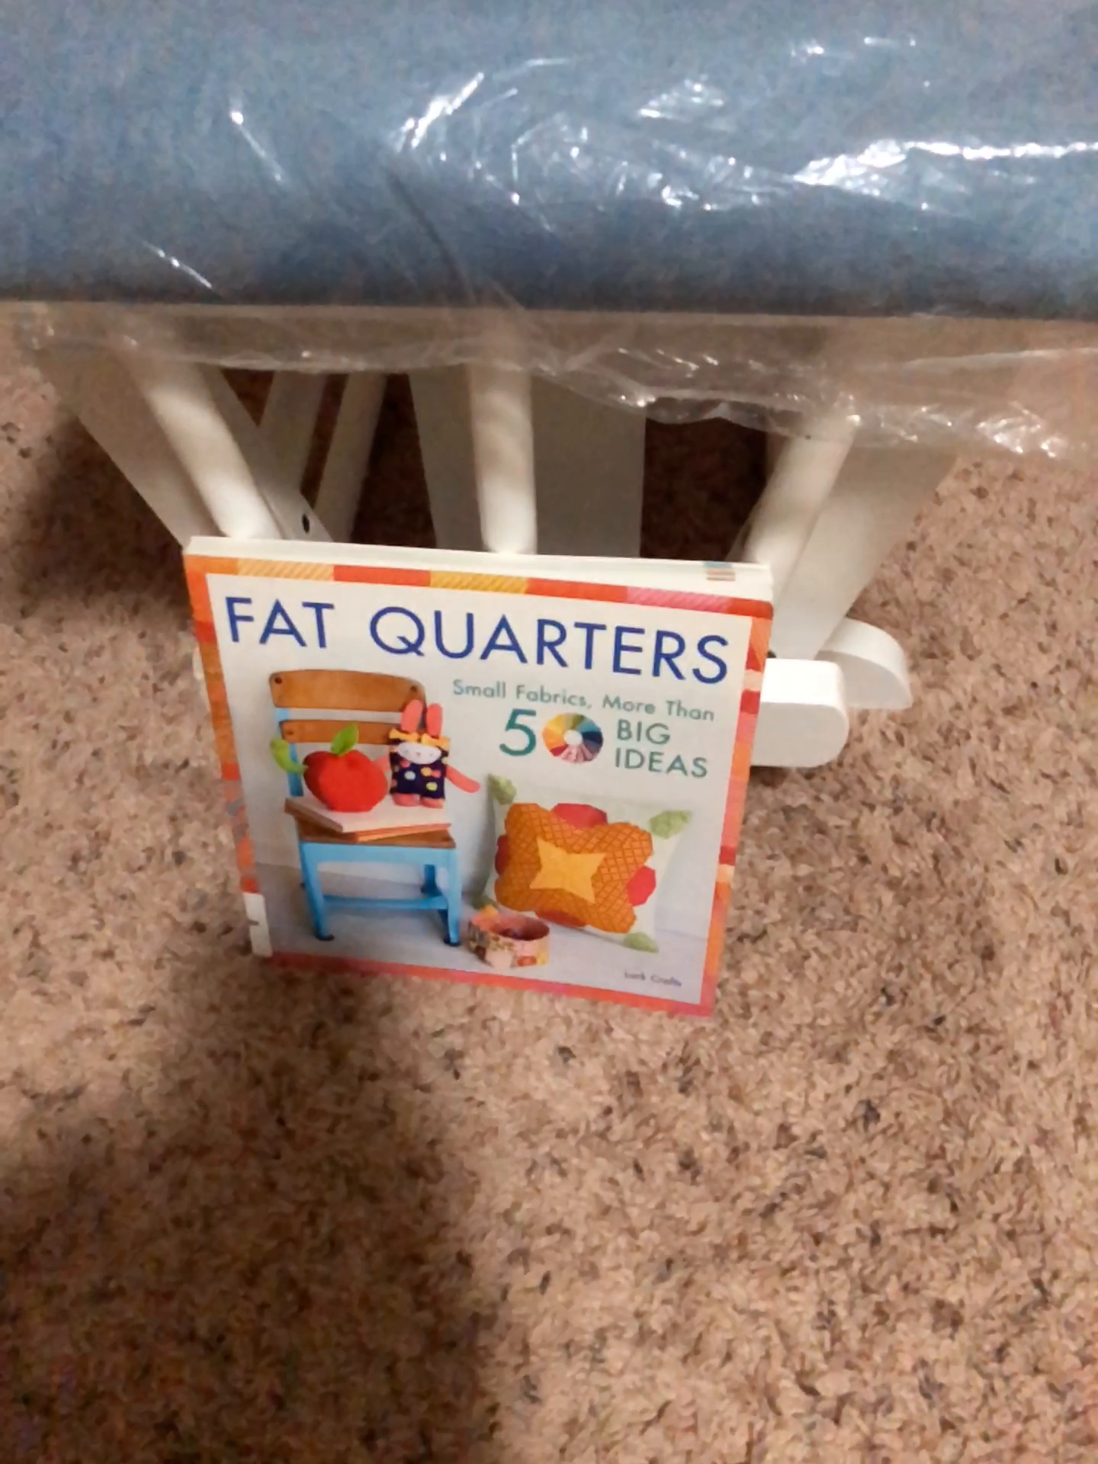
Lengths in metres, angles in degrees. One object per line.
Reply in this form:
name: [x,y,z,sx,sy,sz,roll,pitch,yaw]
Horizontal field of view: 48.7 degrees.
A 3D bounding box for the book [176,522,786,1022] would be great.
book: [-0.025,0.022,0.471,0.207,0.193,0.030,6,35,7]
